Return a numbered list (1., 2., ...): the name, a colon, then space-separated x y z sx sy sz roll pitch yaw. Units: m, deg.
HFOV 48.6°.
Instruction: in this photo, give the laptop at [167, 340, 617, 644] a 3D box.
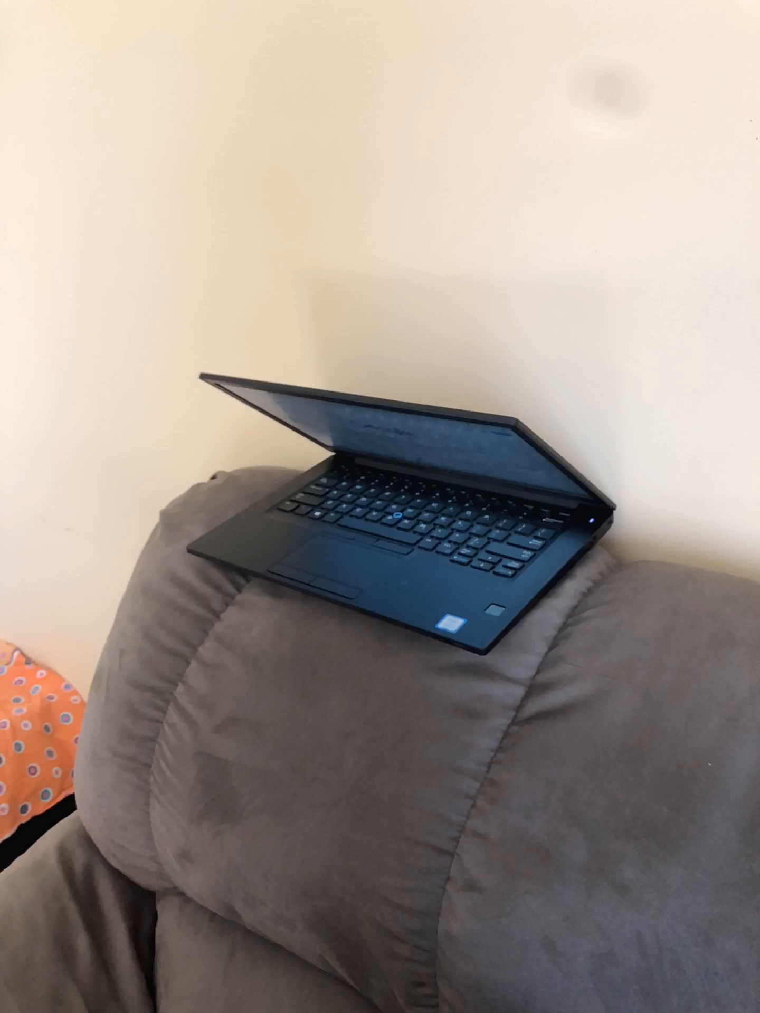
1. laptop: 0.007 -0.039 0.738 0.322 0.128 0.213 14 33 37
